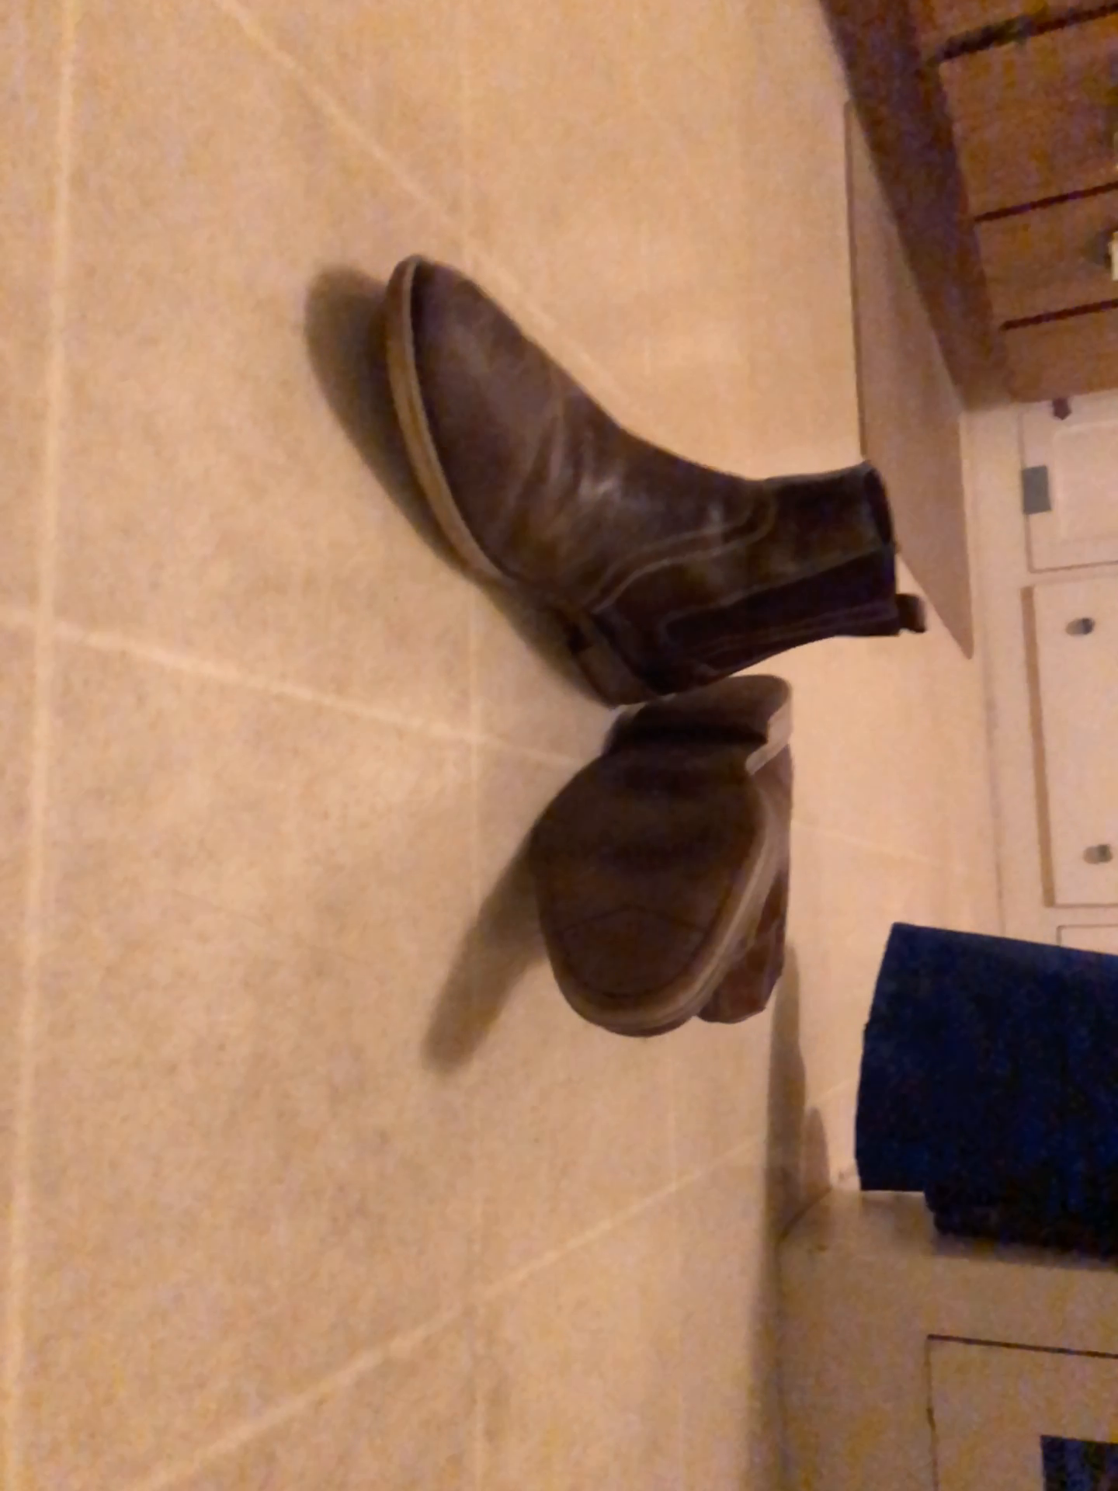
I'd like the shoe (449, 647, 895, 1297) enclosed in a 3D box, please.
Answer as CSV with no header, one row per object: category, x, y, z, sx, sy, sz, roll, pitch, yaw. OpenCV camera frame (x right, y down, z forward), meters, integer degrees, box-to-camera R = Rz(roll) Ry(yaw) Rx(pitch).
shoe,0.081,0.084,0.613,0.315,0.111,0.161,-48,130,-57

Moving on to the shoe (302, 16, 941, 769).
shoe,0.057,-0.112,0.534,0.314,0.160,0.111,47,44,-53
